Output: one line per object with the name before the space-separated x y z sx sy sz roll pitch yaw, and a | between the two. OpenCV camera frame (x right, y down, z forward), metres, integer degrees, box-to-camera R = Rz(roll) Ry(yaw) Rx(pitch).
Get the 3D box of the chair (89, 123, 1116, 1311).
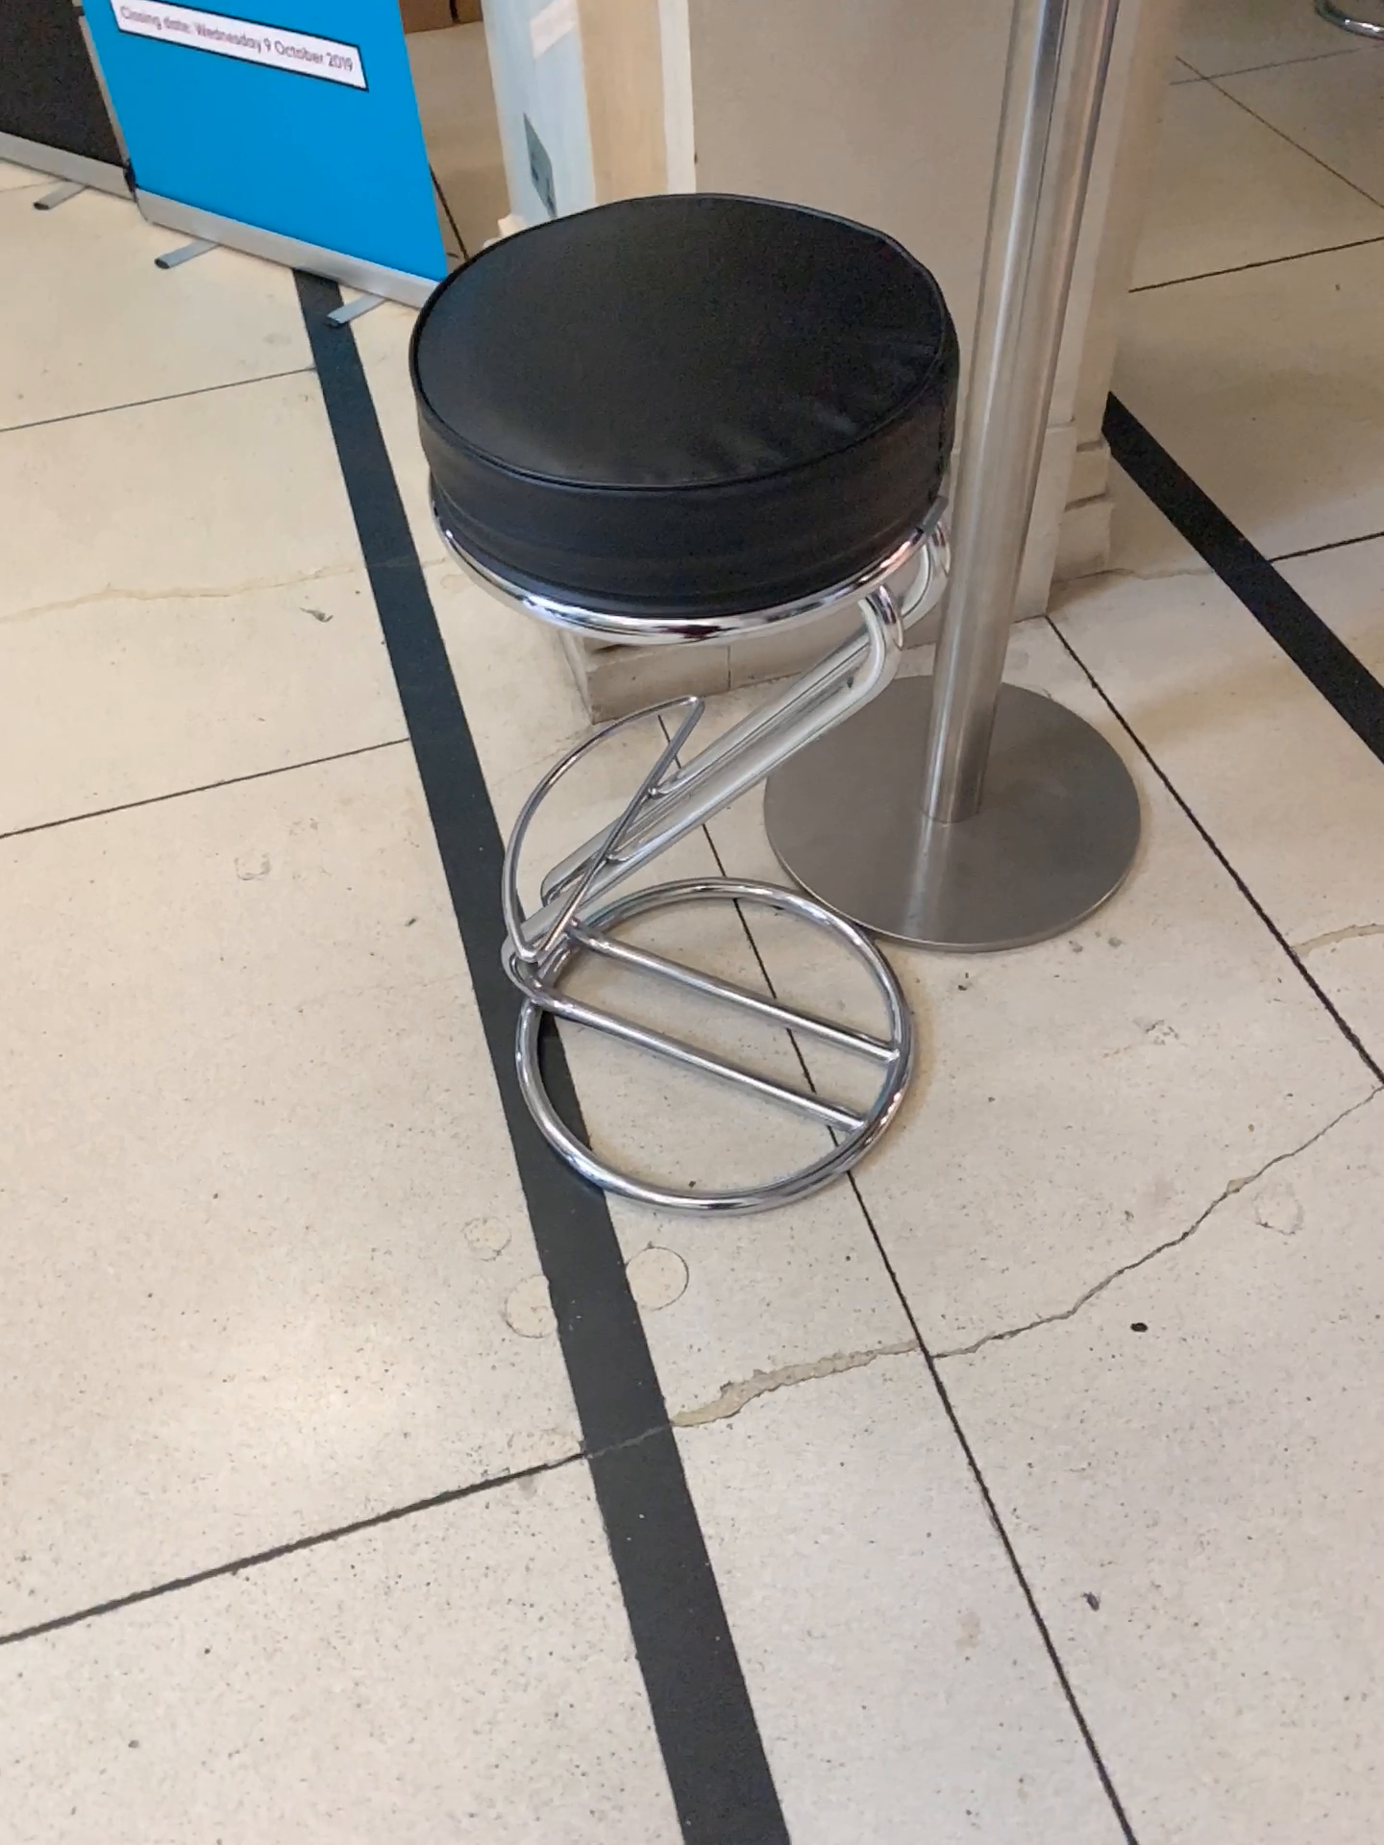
chair | -0.008 -0.129 1.202 0.504 0.813 0.467 16 54 17
